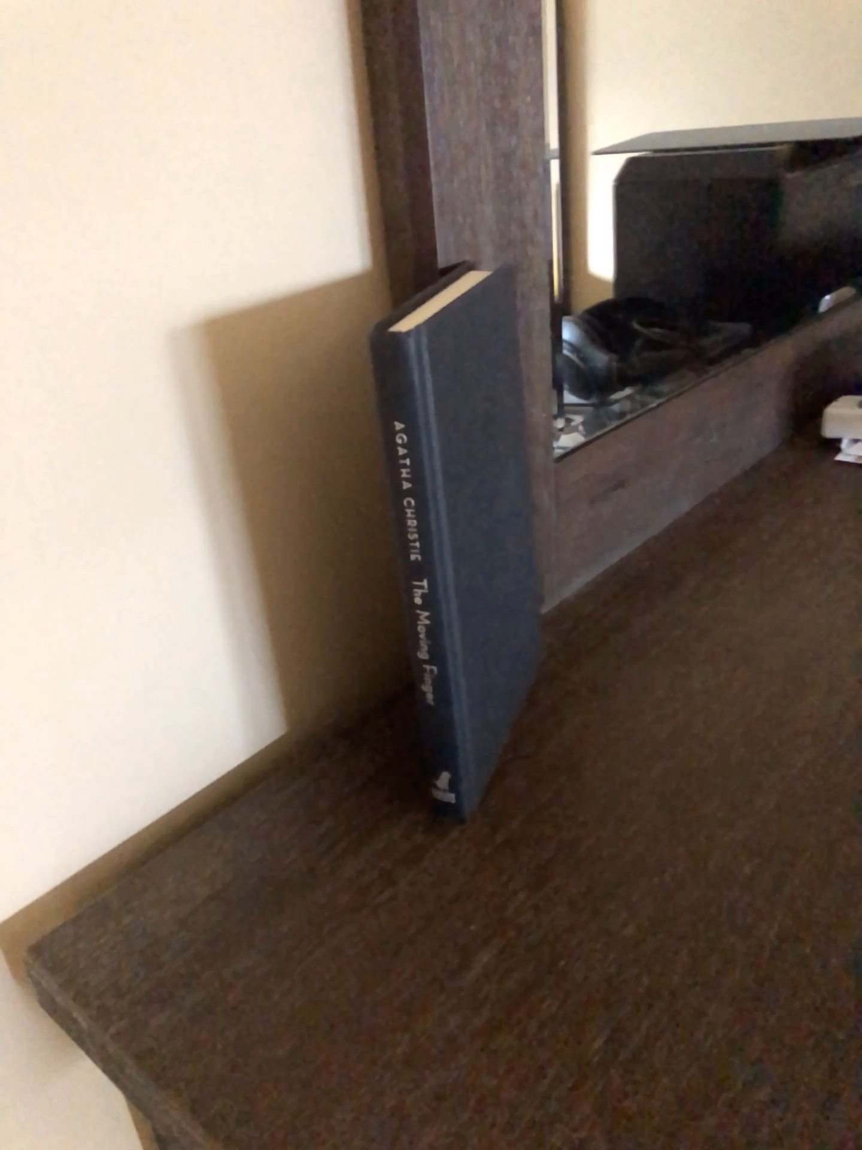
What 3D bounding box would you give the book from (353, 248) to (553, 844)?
[{"bbox_3d":[0.021,-0.018,0.437,0.028,0.229,0.151,3,27,19],"label":"book"}]
